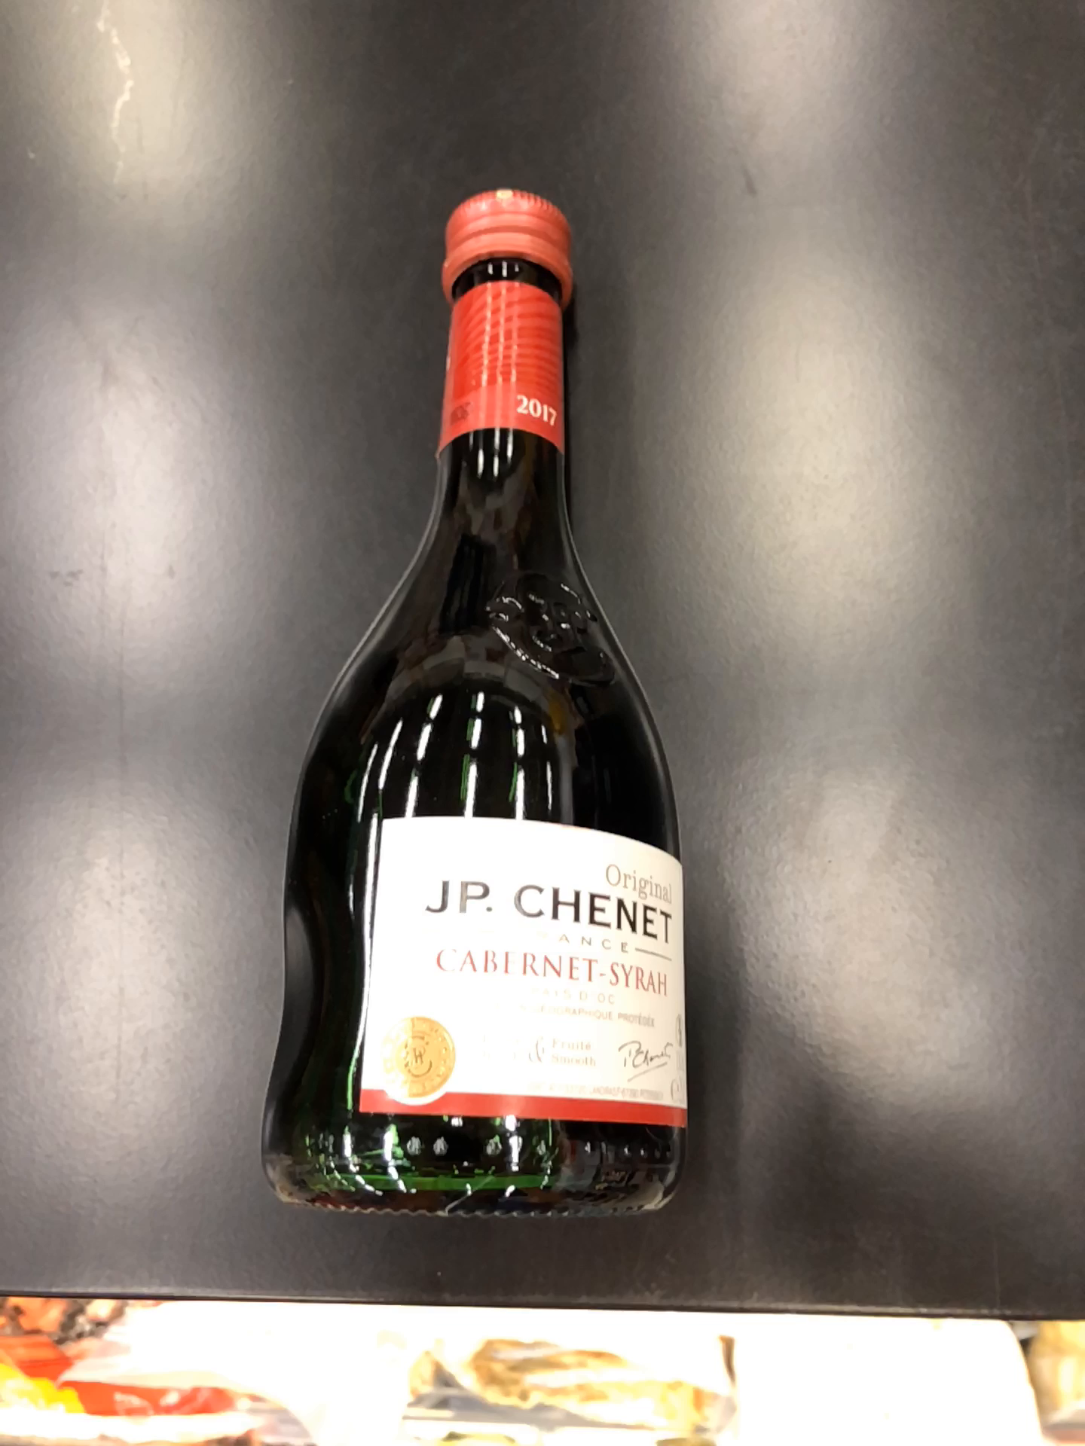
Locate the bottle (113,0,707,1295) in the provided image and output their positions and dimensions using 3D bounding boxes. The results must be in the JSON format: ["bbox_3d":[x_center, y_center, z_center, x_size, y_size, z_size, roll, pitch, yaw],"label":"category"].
[{"bbox_3d":[-0.012,-0.023,0.198,0.070,0.060,0.200,-2,75,10],"label":"bottle"}]
